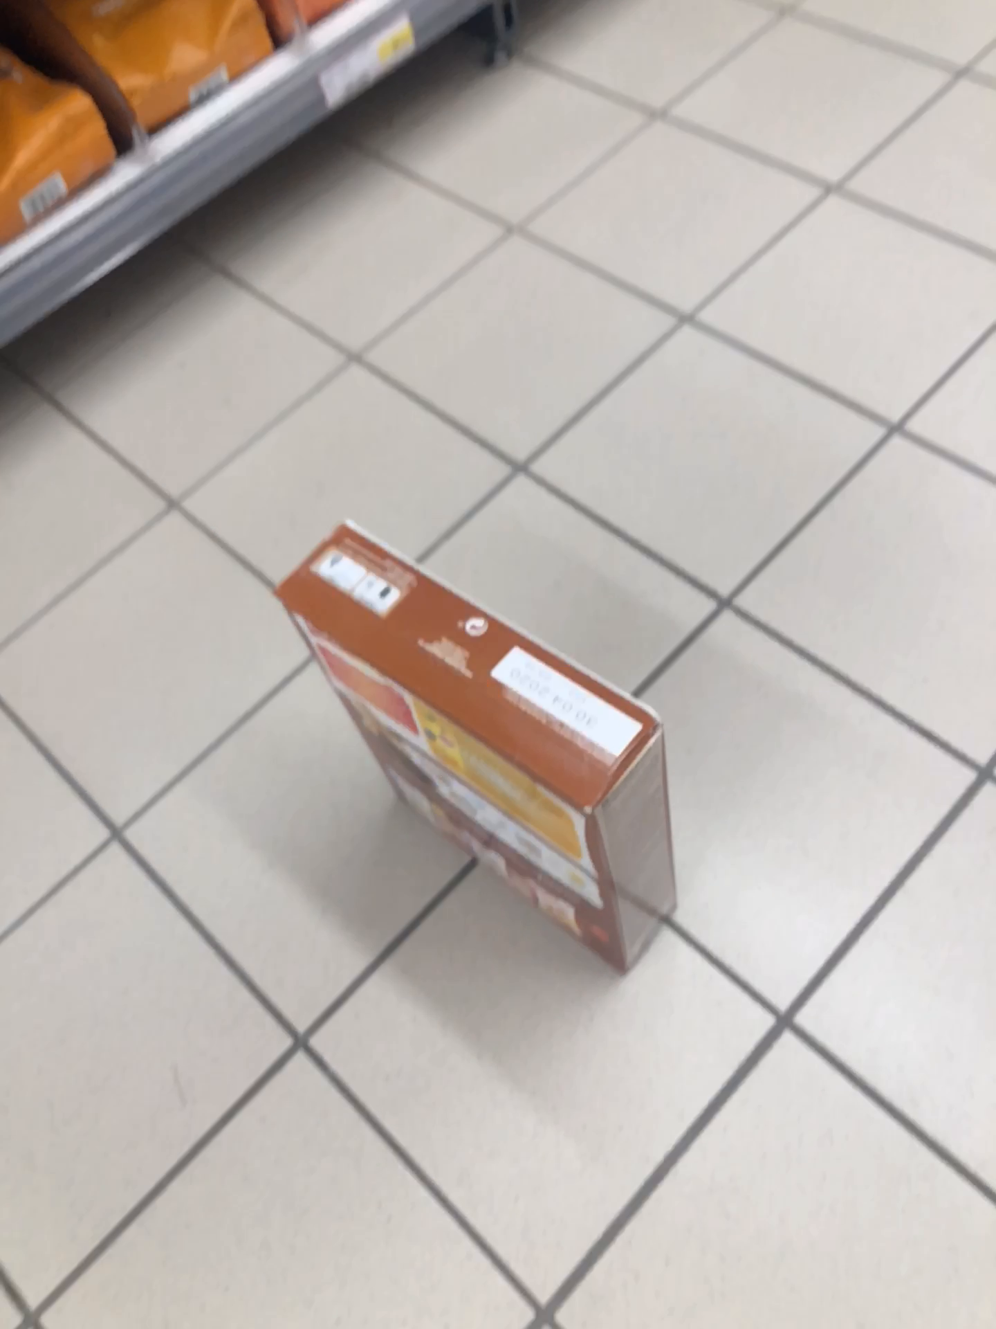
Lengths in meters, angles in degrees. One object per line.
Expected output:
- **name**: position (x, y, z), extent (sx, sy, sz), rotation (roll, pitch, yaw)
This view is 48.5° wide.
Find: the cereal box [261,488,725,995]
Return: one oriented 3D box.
- **cereal box**: position (0.010, 0.052, 0.591), extent (0.210, 0.249, 0.070), rotation (32, 69, 25)
